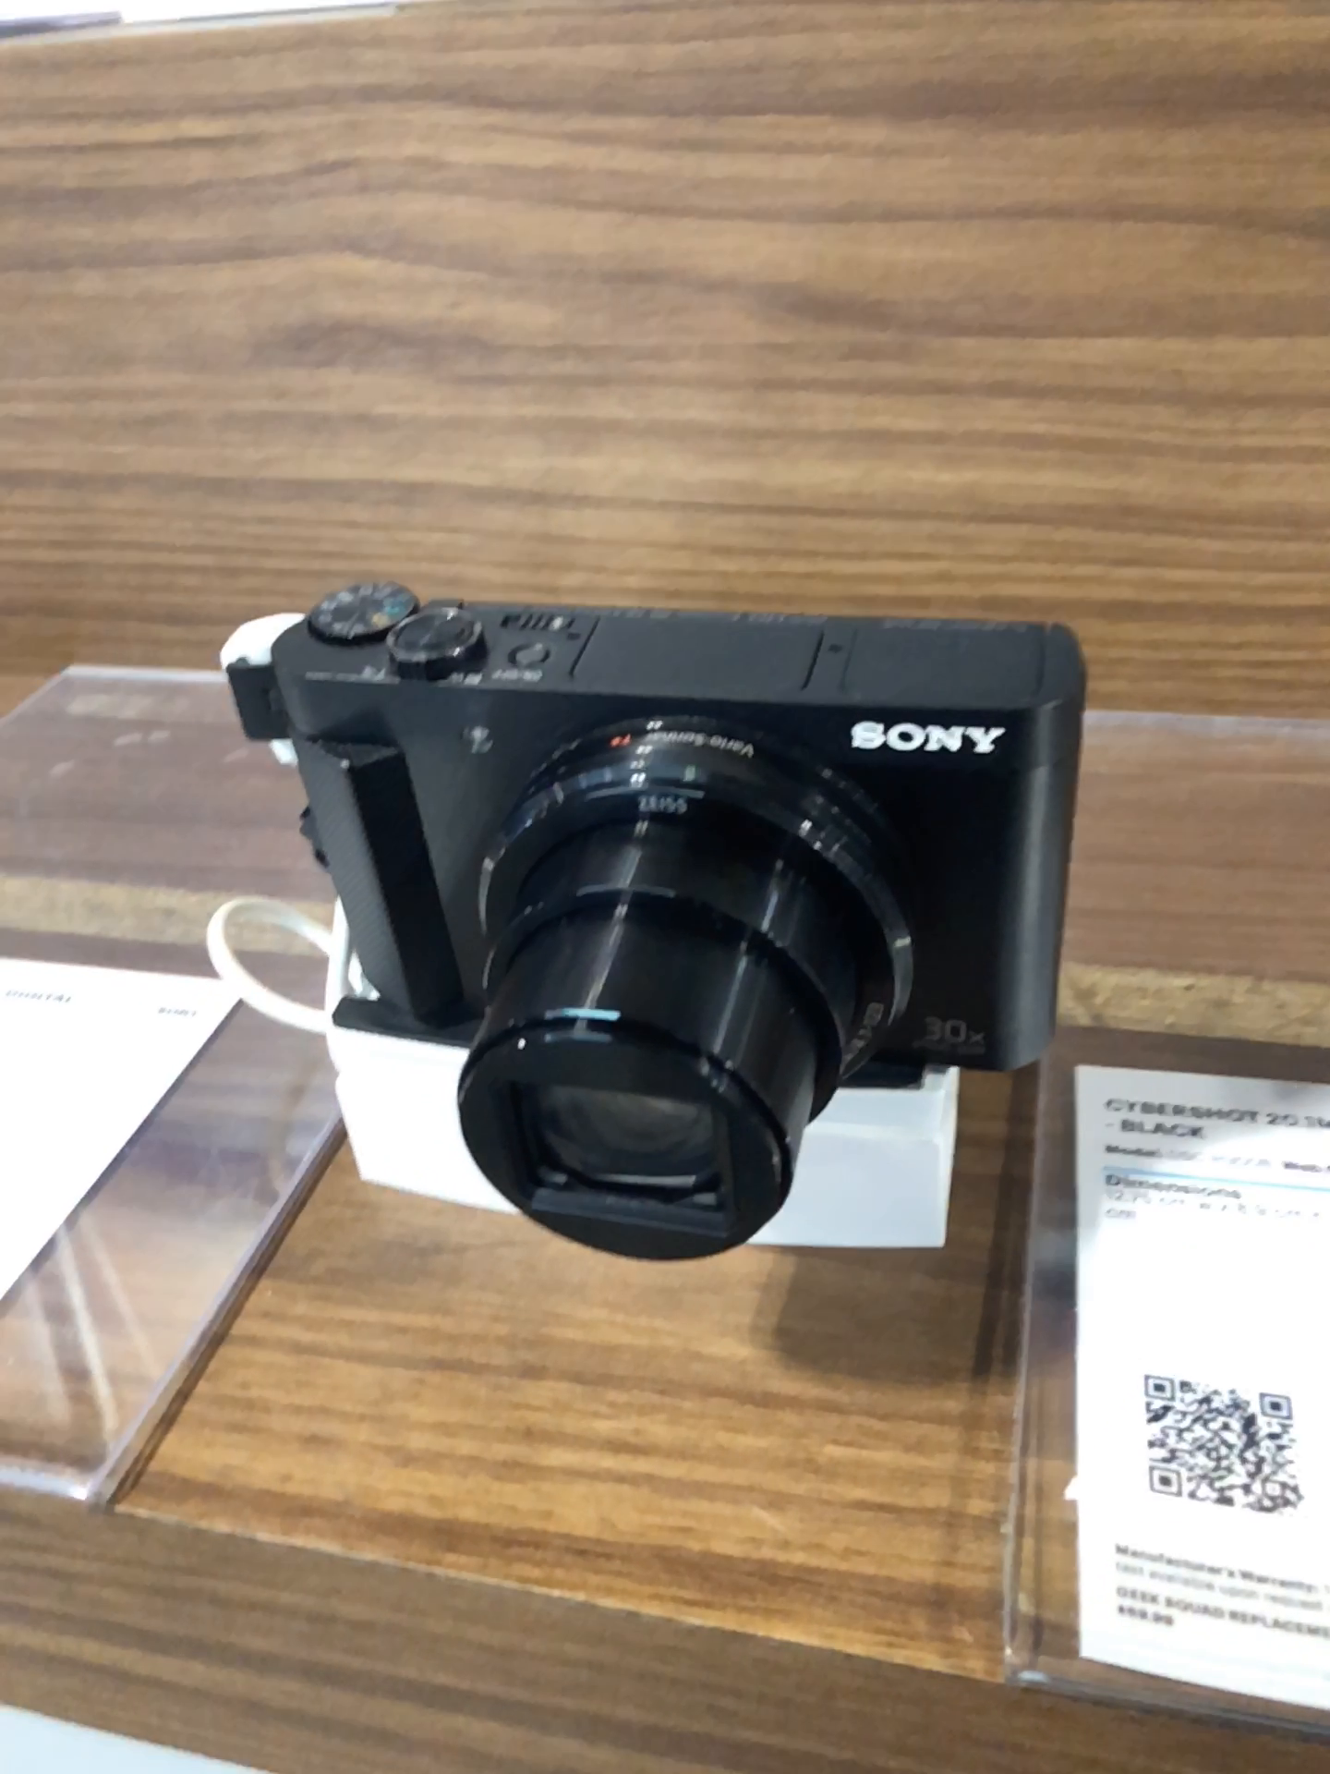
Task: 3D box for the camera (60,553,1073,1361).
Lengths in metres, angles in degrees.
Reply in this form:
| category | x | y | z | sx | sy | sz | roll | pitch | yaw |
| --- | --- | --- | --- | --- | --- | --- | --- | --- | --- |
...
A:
| category | x | y | z | sx | sy | sz | roll | pitch | yaw |
| --- | --- | --- | --- | --- | --- | --- | --- | --- | --- |
| camera | -0.004 | 0.003 | 0.183 | 0.100 | 0.070 | 0.060 | 4 | 31 | 14 |
